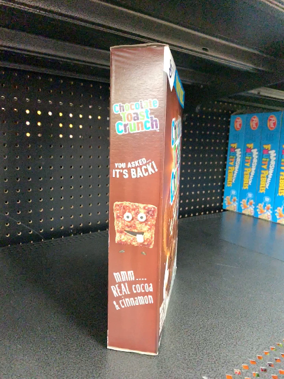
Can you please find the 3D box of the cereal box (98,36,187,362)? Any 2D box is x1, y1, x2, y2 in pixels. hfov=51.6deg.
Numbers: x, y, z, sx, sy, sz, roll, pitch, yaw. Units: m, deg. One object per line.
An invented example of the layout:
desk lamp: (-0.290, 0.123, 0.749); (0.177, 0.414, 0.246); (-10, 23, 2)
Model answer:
cereal box: (0.013, 0.001, 0.406); (0.070, 0.319, 0.240); (4, 9, 10)
